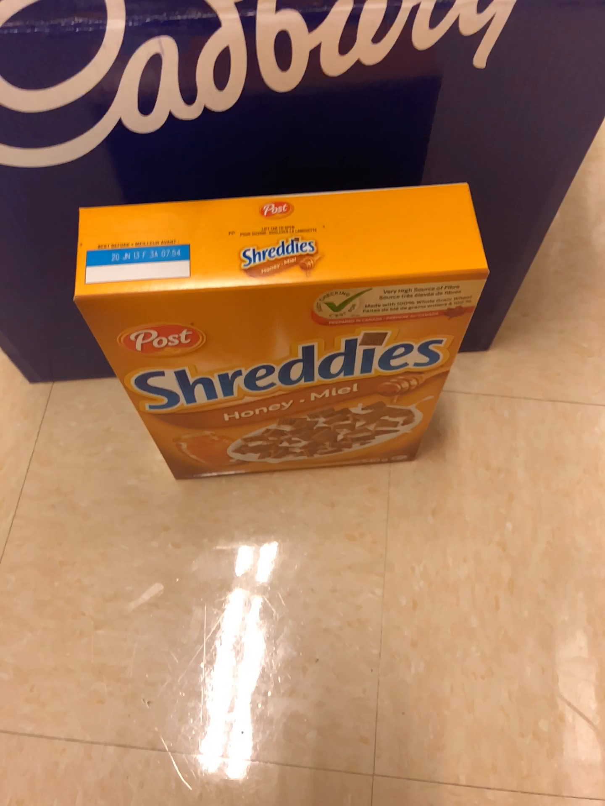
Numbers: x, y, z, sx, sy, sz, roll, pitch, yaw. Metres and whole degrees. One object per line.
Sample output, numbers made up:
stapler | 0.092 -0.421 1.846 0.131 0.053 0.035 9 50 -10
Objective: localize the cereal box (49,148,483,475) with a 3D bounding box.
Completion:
cereal box | -0.018 -0.037 0.463 0.210 0.279 0.070 -5 65 -1
